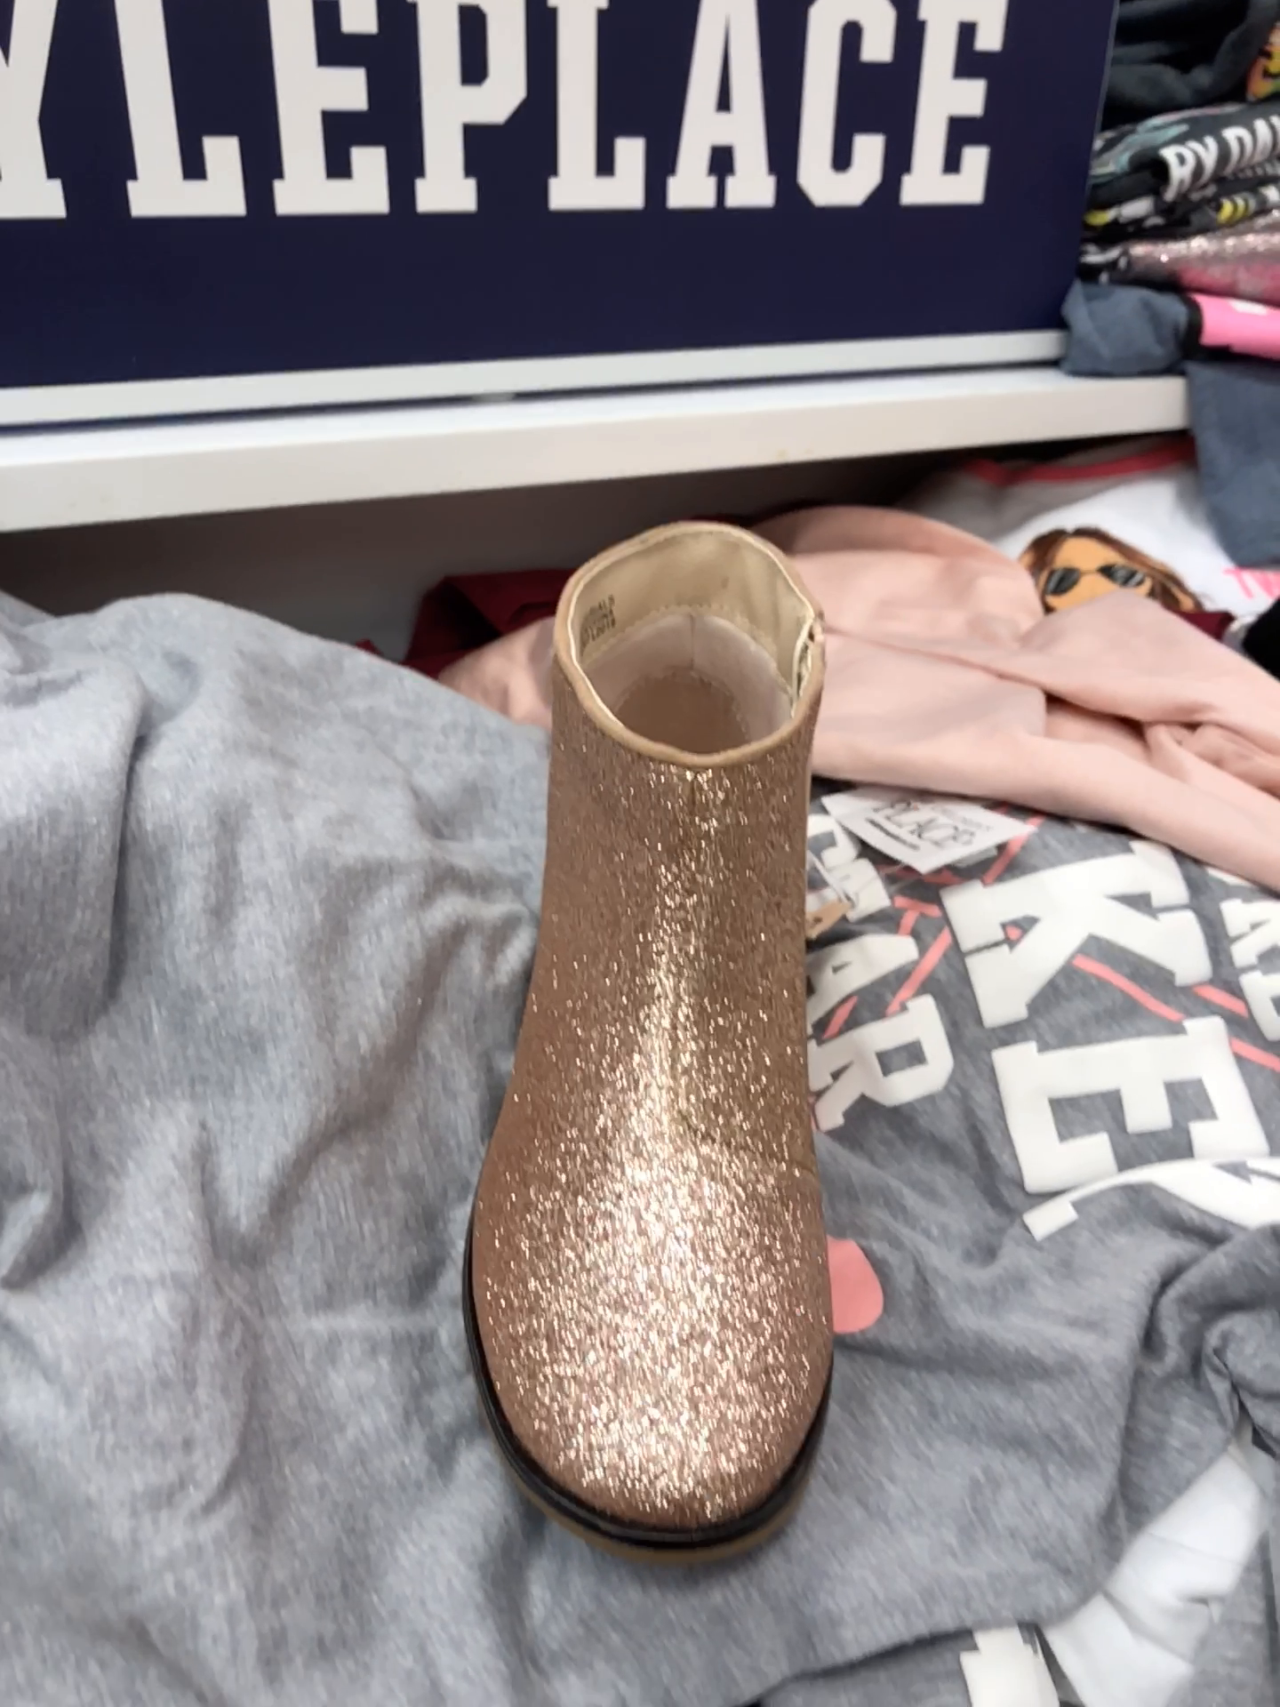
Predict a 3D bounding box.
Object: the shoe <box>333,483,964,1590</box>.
[{"bbox_3d":[0.006,0.012,0.324,0.083,0.129,0.238,2,29,2],"label":"shoe"}]
